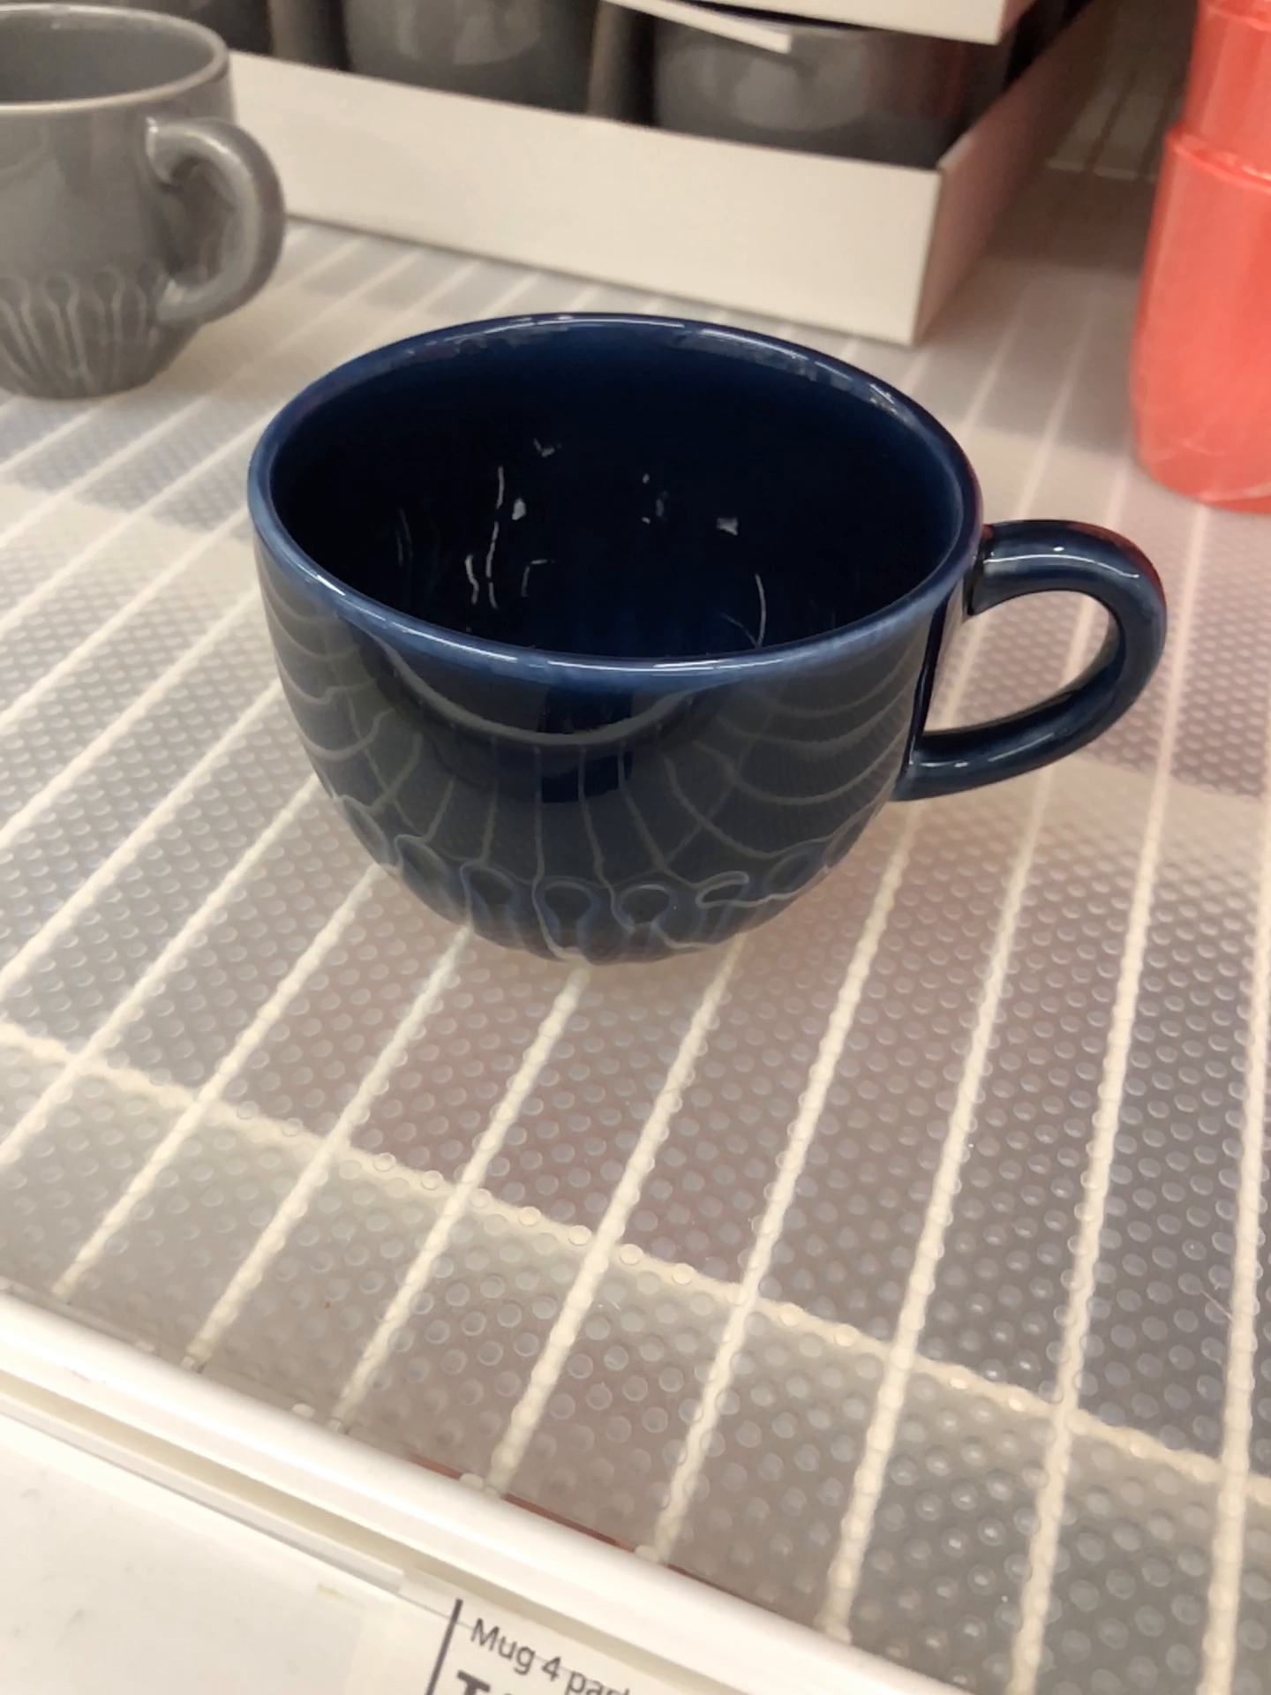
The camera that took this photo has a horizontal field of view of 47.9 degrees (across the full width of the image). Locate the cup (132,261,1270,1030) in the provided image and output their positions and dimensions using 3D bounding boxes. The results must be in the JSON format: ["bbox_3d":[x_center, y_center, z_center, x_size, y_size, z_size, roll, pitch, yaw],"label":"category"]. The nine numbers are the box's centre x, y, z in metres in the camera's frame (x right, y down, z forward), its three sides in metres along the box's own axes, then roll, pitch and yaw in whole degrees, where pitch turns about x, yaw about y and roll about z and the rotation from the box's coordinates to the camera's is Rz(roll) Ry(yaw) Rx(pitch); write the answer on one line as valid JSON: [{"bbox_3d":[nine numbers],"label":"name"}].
[{"bbox_3d":[0.009,-0.037,0.220,0.130,0.060,0.110,3,41,-1],"label":"cup"}]
